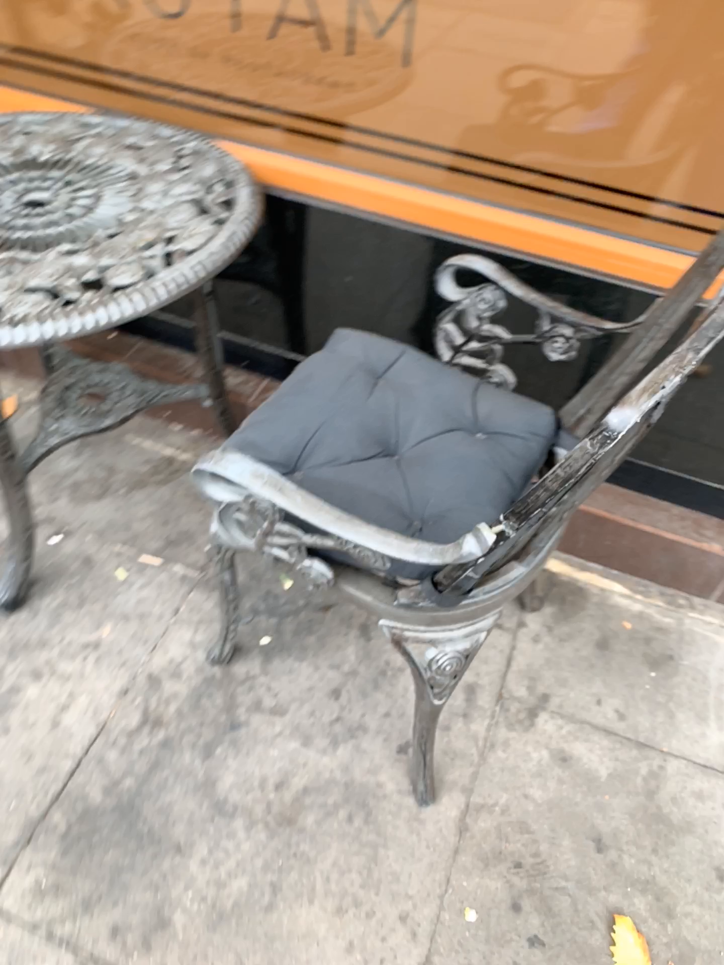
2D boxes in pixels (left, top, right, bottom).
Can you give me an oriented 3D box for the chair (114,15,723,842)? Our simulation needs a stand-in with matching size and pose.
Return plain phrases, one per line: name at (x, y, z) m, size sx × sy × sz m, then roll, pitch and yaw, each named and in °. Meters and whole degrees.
chair at (0.098, -0.016, 1.007) m, size 0.551 × 0.852 × 0.494 m, roll 27°, pitch 50°, yaw 13°
